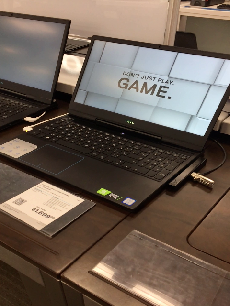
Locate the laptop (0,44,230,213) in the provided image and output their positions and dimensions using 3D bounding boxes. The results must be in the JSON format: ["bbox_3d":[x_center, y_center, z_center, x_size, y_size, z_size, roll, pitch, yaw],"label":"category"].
[{"bbox_3d":[0.000,-0.082,0.593,0.339,0.174,0.323,24,43,32],"label":"laptop"}]
